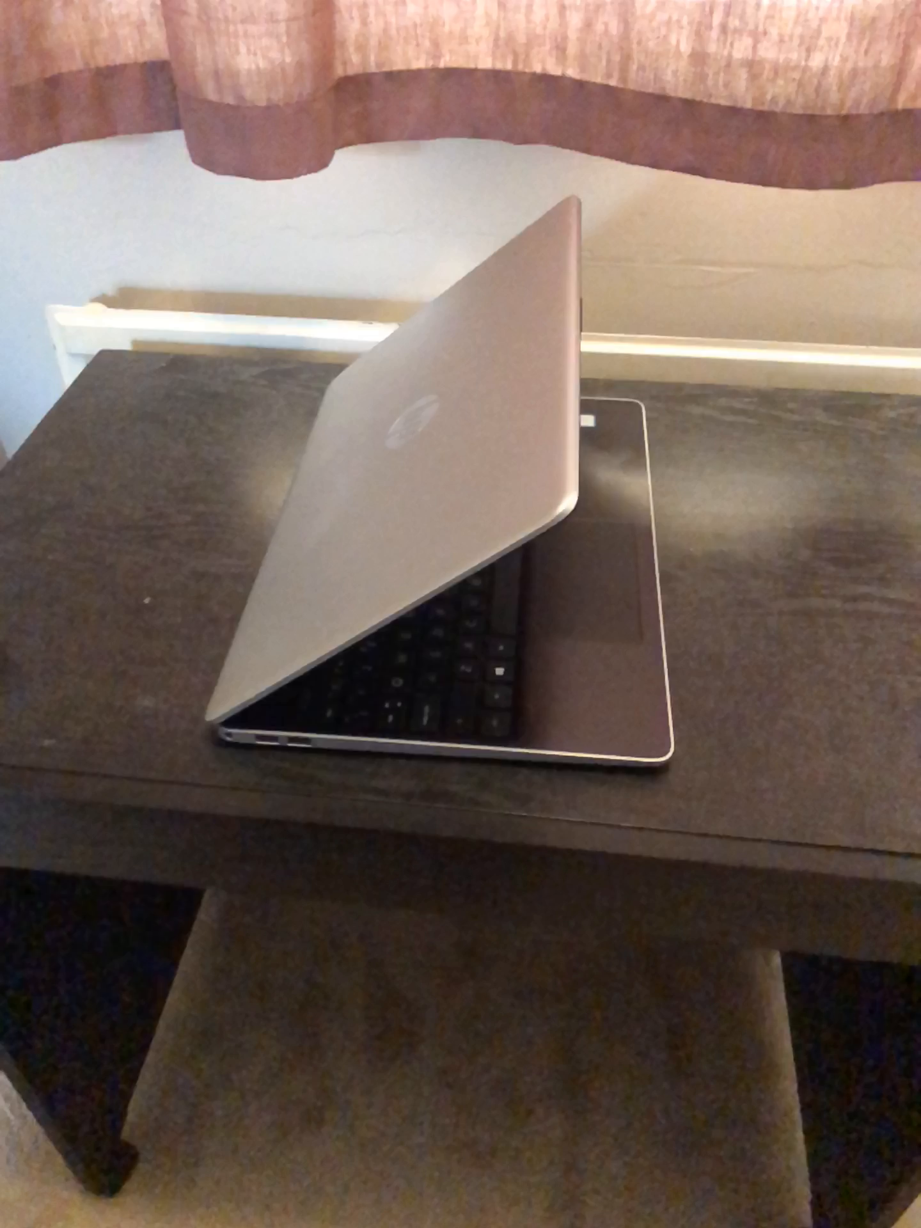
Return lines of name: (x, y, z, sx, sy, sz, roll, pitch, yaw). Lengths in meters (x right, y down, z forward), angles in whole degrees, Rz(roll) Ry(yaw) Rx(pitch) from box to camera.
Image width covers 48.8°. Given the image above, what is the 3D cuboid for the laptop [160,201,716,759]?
laptop: (0.007, -0.106, 0.612, 0.236, 0.141, 0.363, 4, 41, 2)
